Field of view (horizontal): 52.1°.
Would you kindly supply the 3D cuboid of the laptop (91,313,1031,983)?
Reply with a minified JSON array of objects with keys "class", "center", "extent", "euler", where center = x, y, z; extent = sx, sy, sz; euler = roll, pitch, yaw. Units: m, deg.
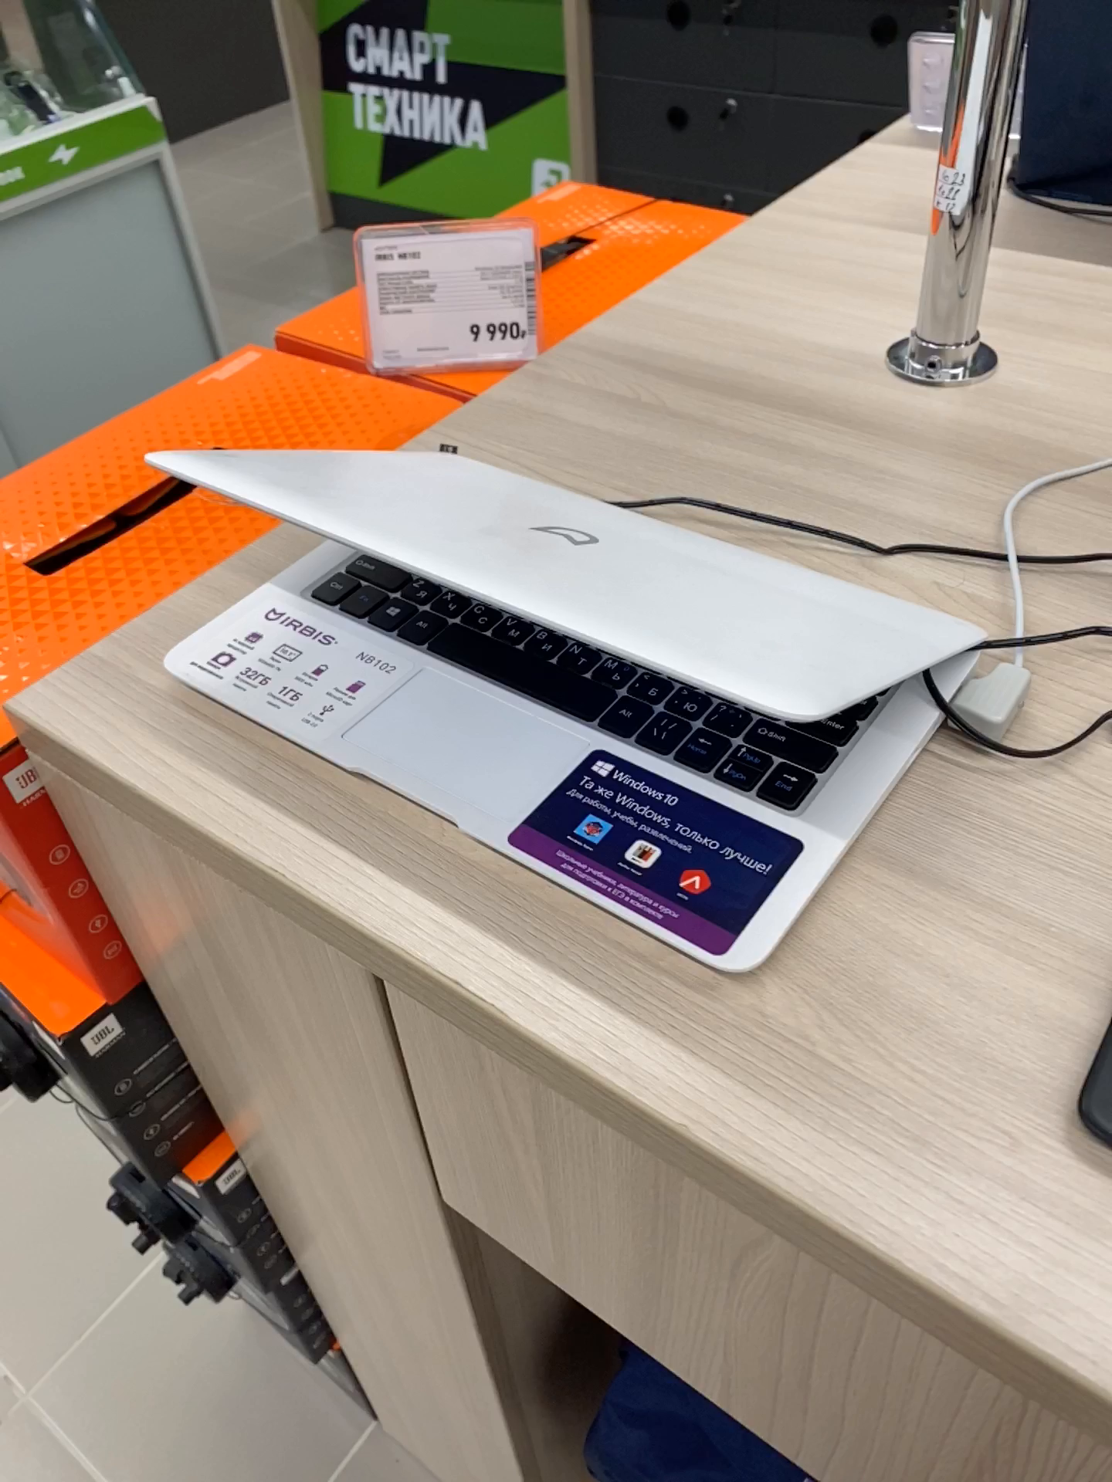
[{"class":"laptop","center":[-0.004,-0.062,0.425],"extent":[0.281,0.078,0.178],"euler":[25,51,29]}]
